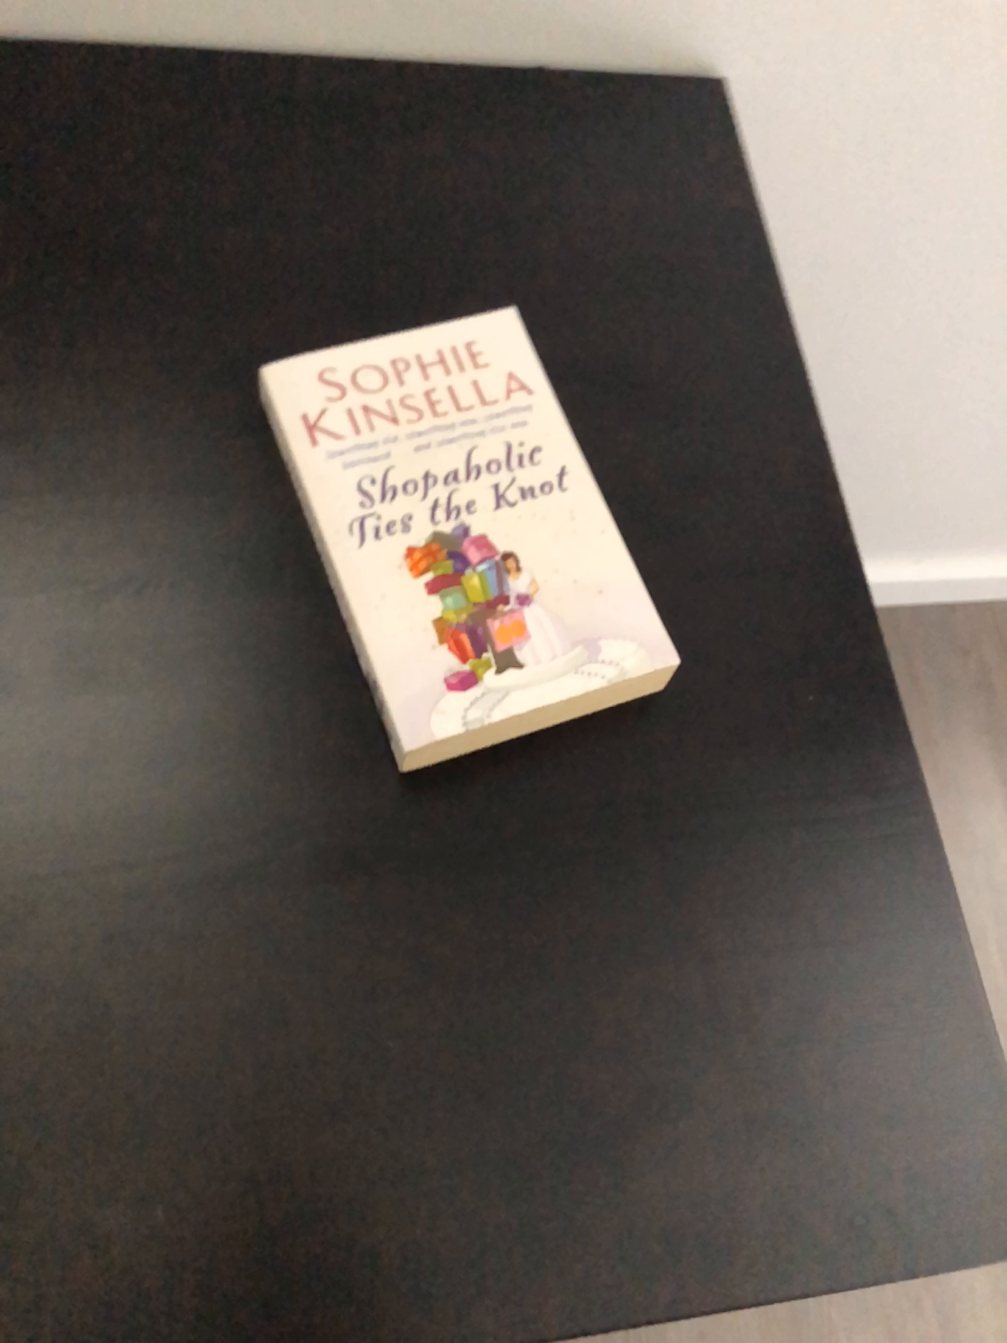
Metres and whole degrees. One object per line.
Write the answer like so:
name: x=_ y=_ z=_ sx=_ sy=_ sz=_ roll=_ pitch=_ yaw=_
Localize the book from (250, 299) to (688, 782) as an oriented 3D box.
book: x=-0.020 y=-0.067 z=0.503 sx=0.130 sy=0.035 sz=0.200 roll=-18 pitch=70 yaw=-14
